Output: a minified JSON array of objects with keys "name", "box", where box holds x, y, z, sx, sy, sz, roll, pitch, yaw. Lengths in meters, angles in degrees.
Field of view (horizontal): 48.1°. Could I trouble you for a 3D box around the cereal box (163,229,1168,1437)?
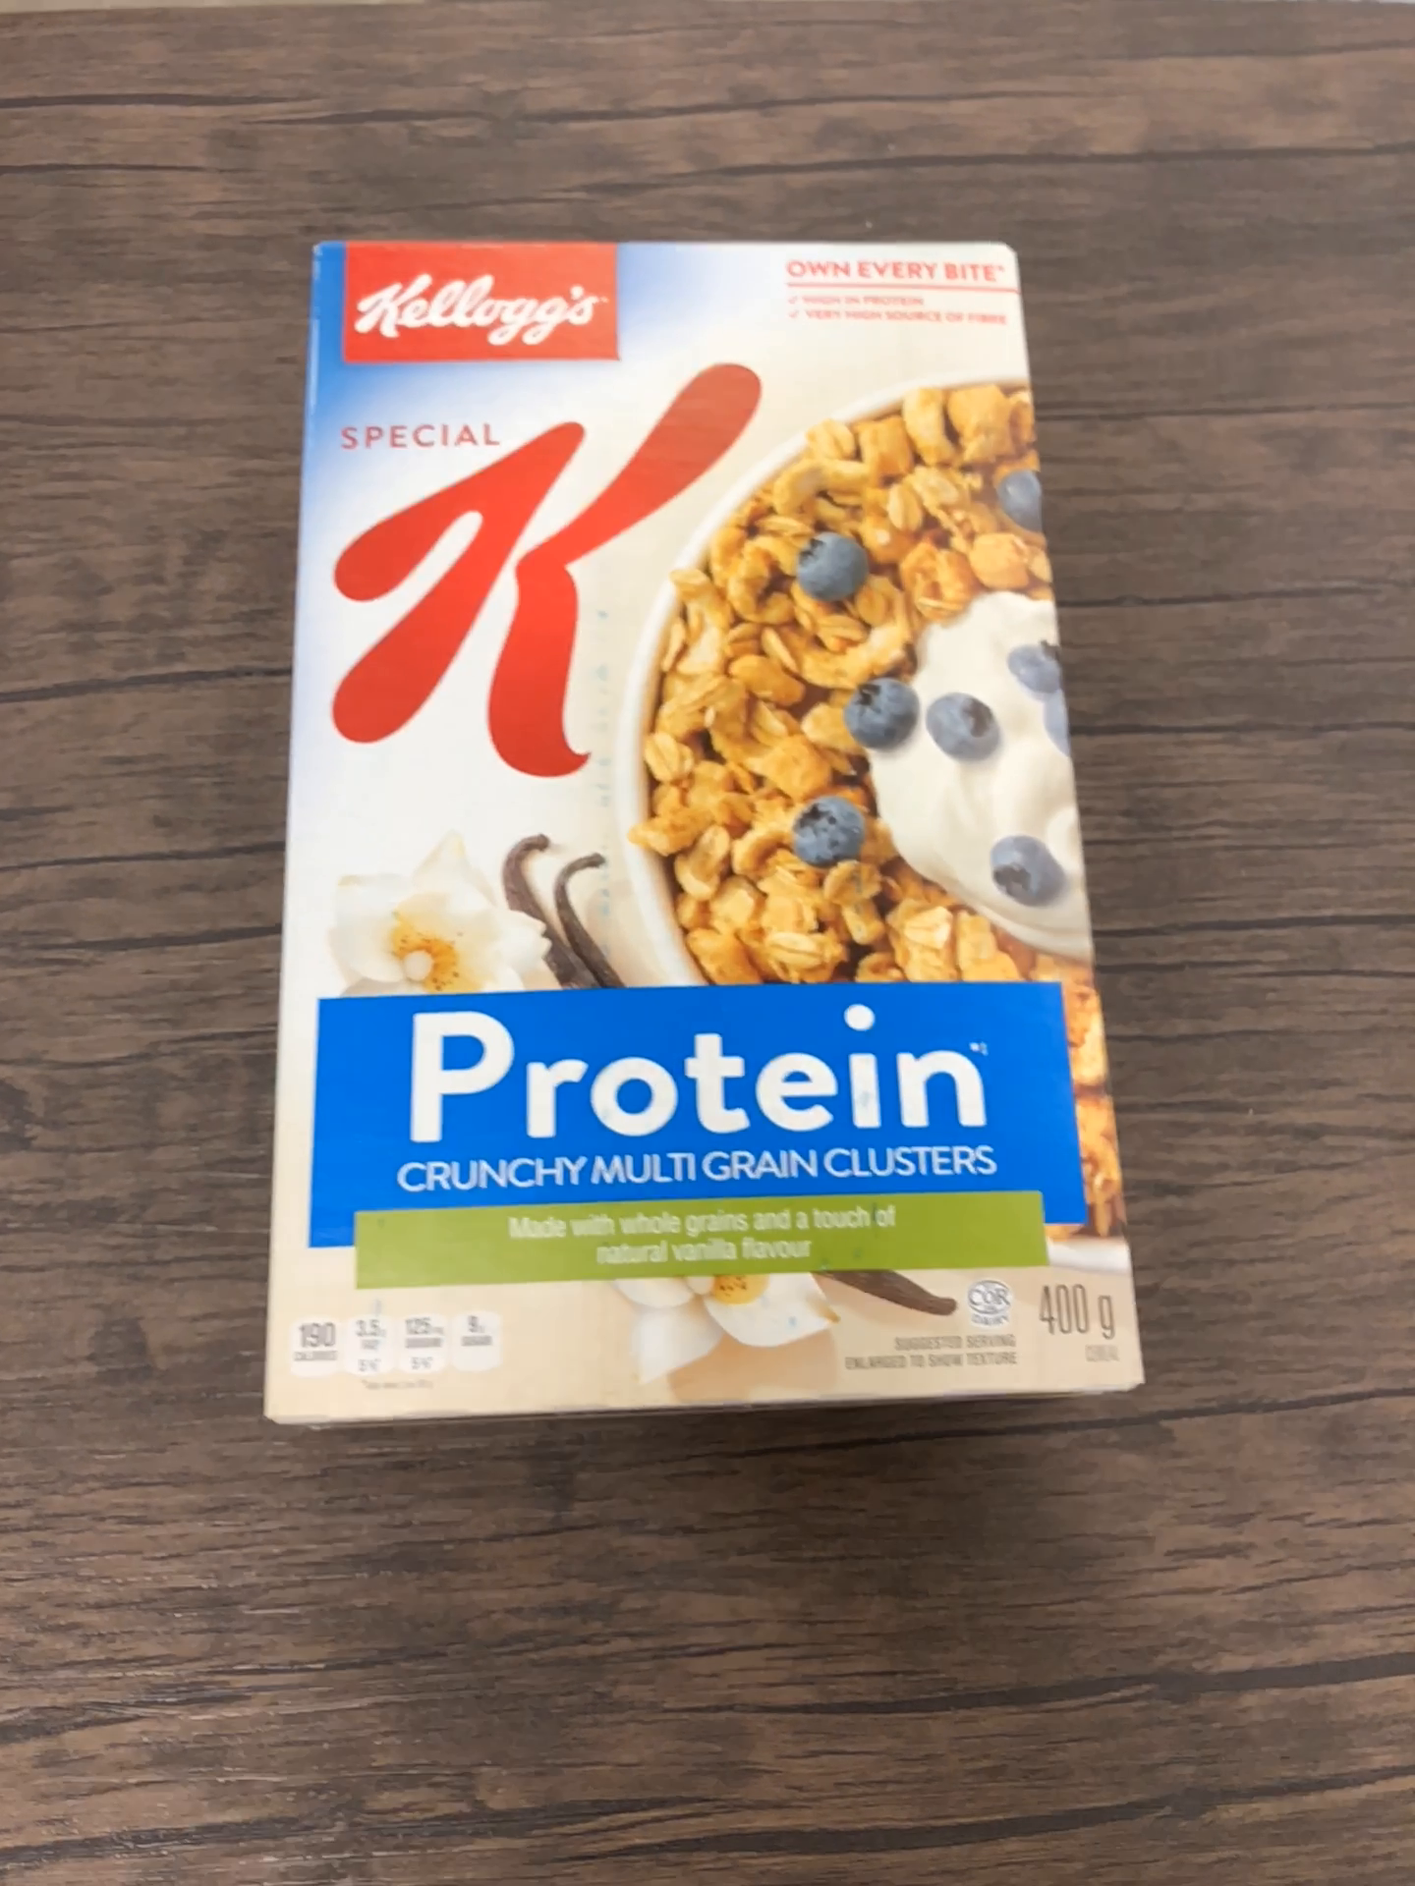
[{"name":"cereal box","box":[-0.012,-0.032,0.347,0.180,0.050,0.260,-1,72,-3]}]
